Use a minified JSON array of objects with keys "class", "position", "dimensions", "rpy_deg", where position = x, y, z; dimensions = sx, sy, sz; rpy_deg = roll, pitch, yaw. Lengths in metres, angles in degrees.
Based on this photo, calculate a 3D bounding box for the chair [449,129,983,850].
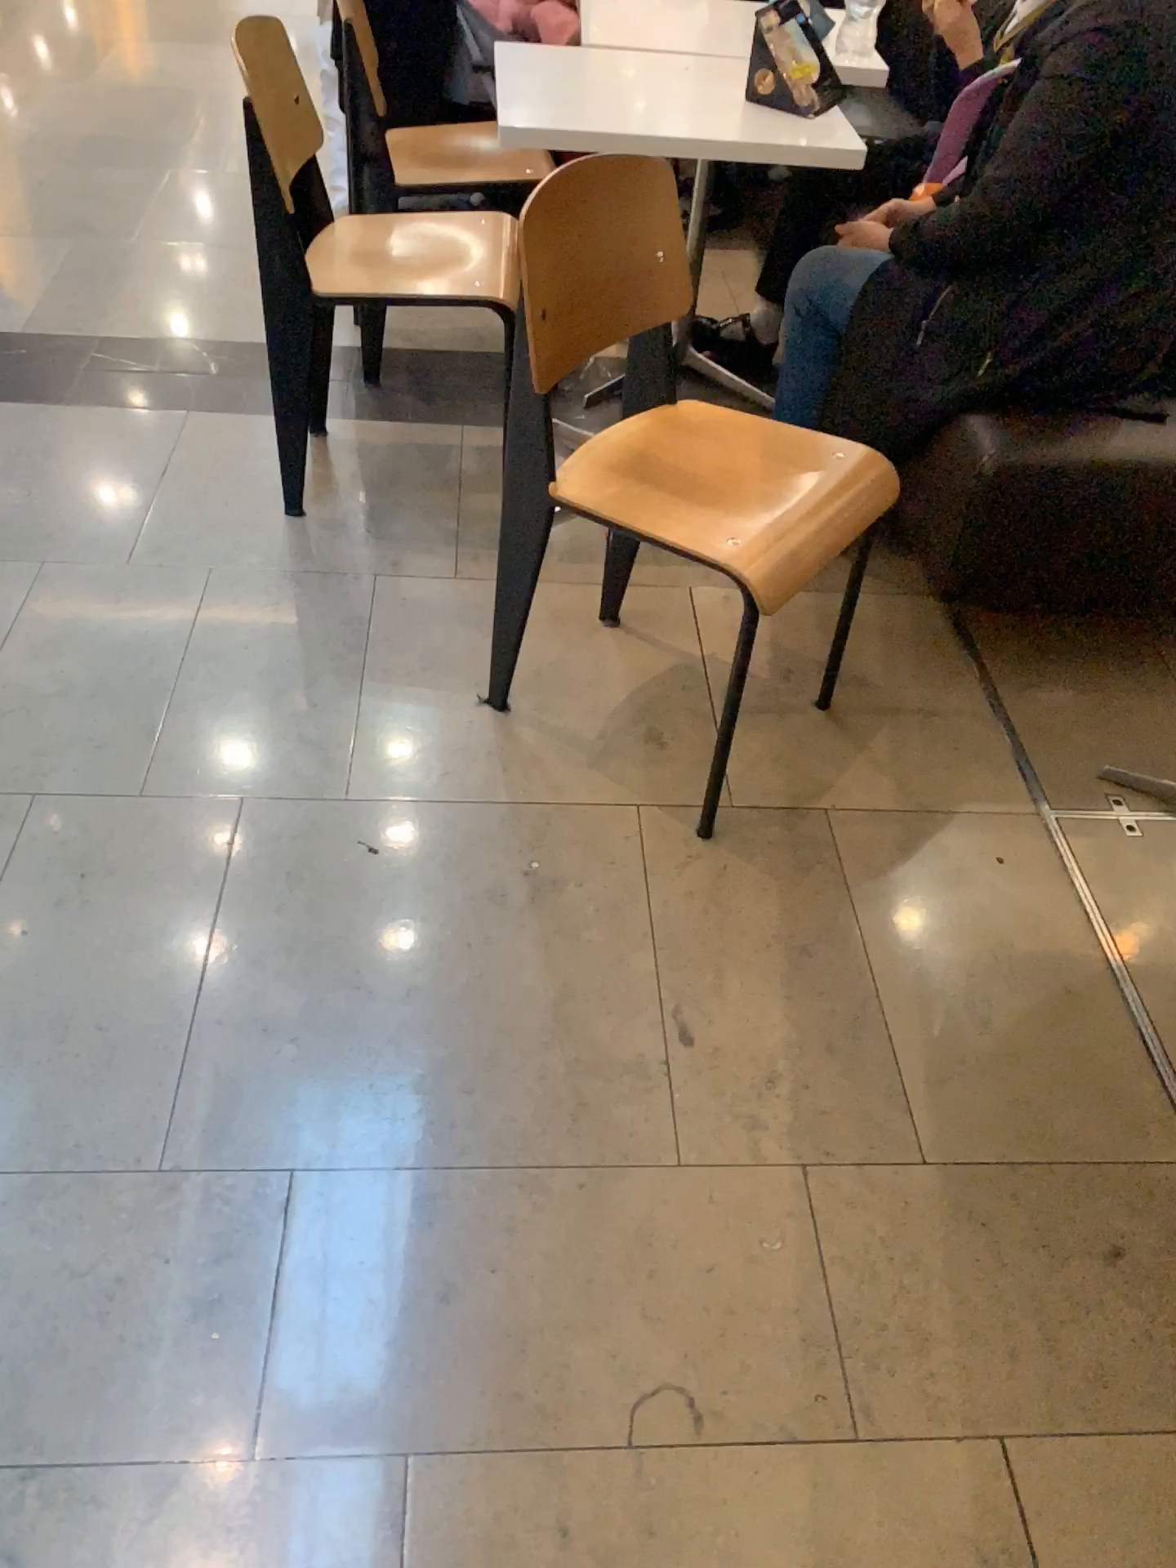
[{"class":"chair","position":[0.130,-0.404,1.687],"dimensions":[0.496,0.767,0.420],"rpy_deg":[29,48,22]}]

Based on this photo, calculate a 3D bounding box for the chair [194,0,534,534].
[{"class":"chair","position":[-0.367,-0.920,2.188],"dimensions":[0.494,0.767,0.432],"rpy_deg":[2,44,-4]}]
